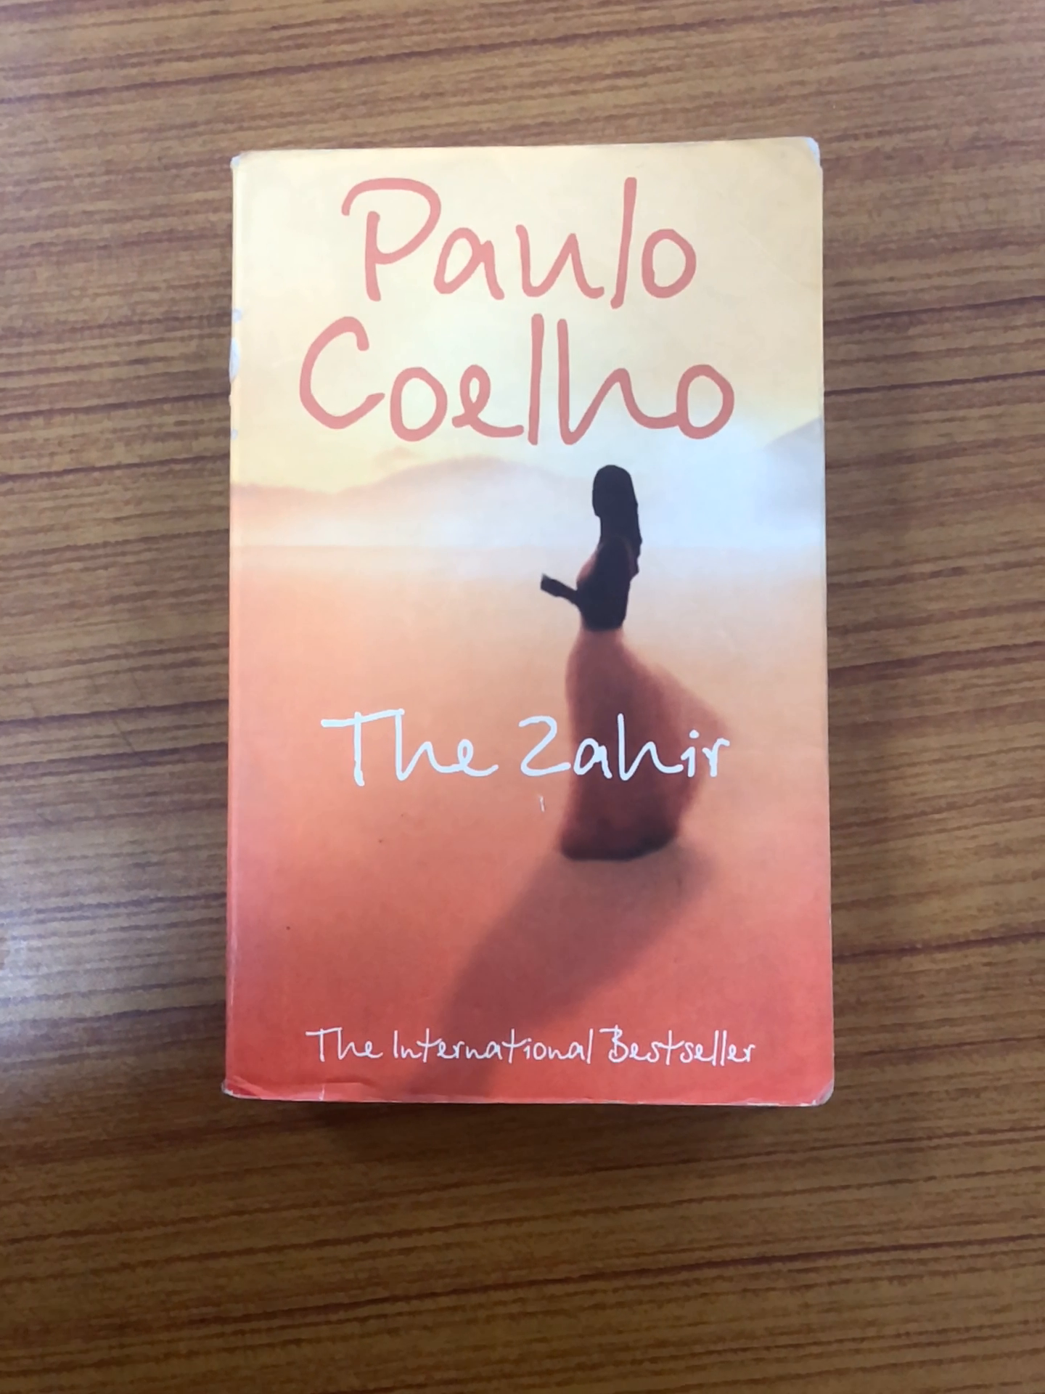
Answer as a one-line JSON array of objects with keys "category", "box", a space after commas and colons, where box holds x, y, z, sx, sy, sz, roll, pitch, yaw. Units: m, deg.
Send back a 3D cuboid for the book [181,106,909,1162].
[{"category": "book", "box": [0.005, -0.012, 0.223, 0.120, 0.040, 0.180, 2, 87, 0]}]
